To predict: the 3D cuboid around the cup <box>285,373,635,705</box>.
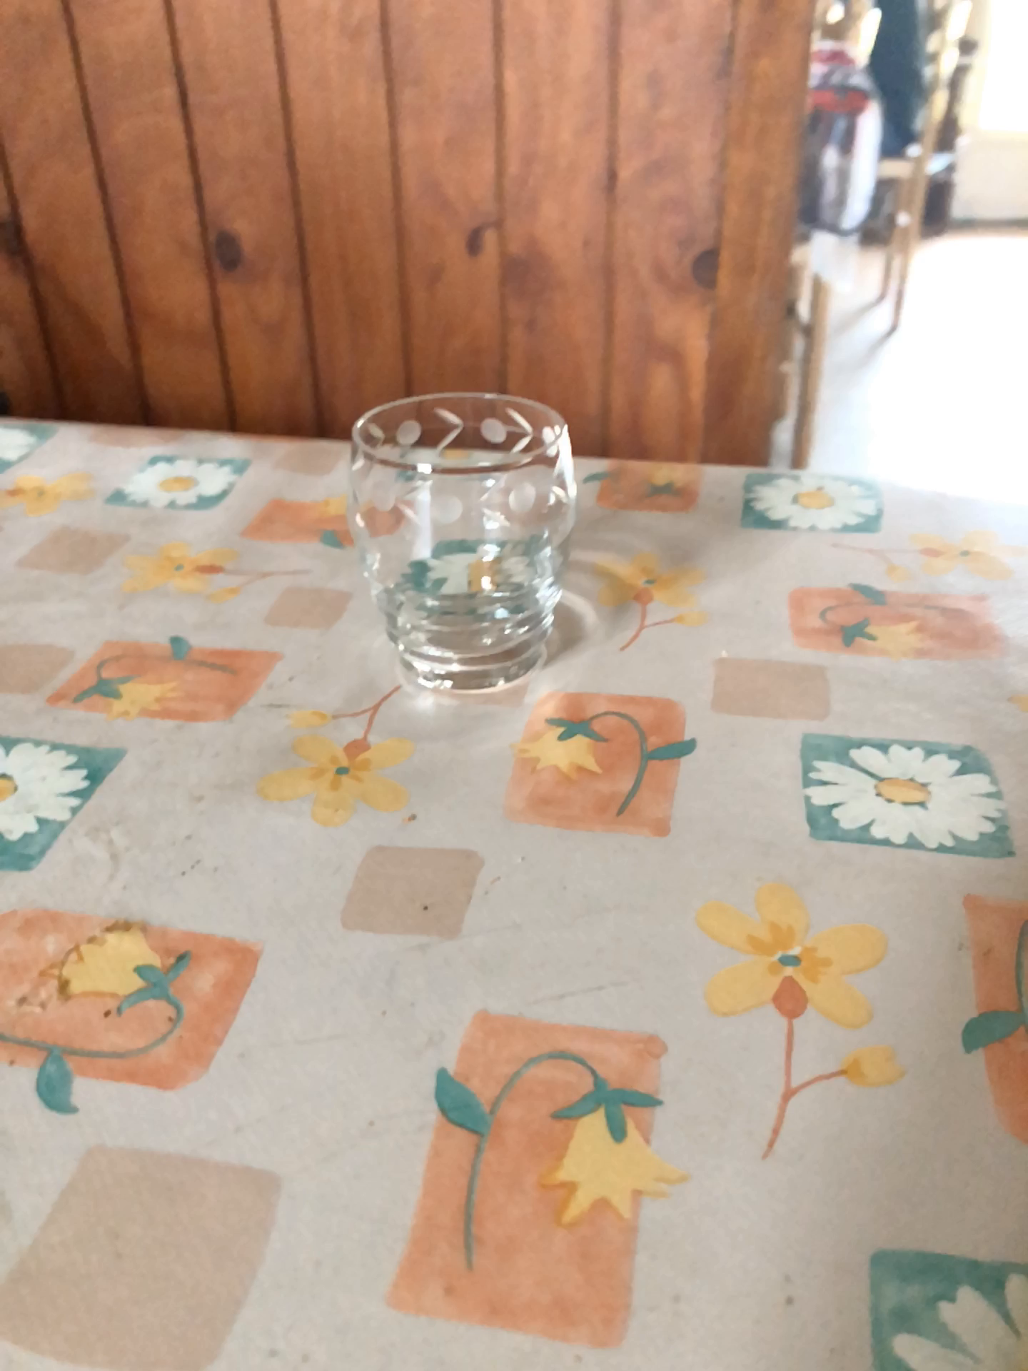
[{"bbox_3d":[-0.009,-0.037,0.265,0.060,0.050,0.060,0,31,0],"label":"cup"}]
